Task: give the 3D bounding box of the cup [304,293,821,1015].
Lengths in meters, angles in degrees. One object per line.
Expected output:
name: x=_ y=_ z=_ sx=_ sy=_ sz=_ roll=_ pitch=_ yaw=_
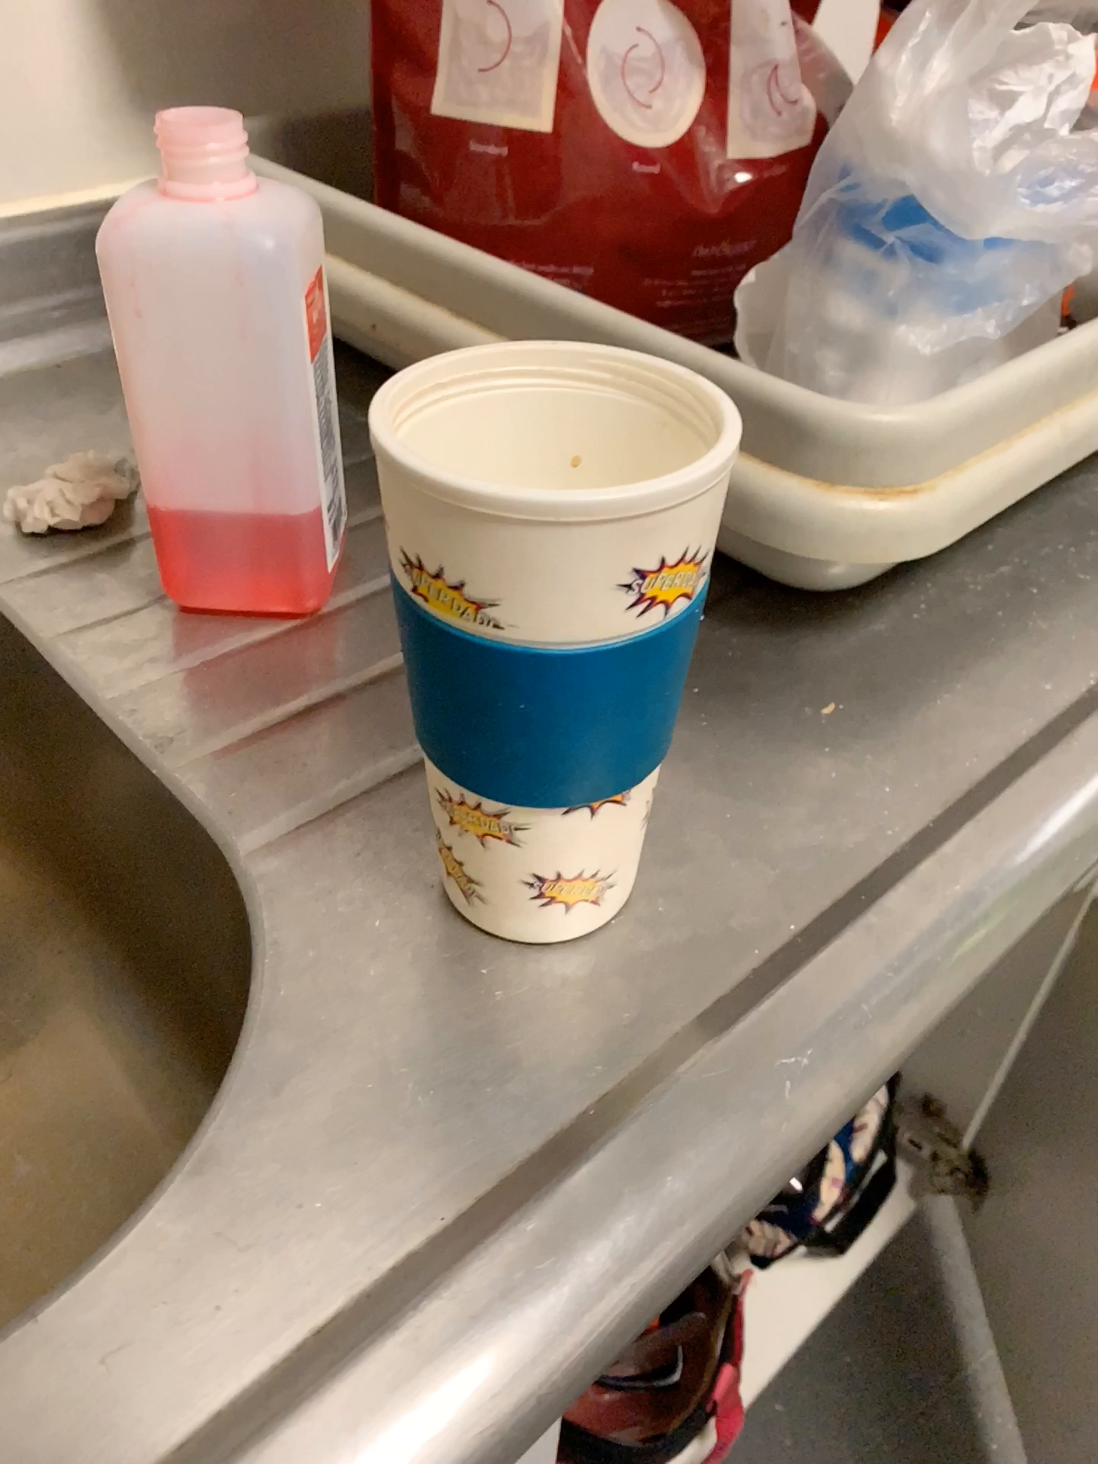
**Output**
cup: x=0.000 y=-0.022 z=0.332 sx=0.090 sy=0.167 sz=0.093 roll=1 pitch=39 yaw=-1
